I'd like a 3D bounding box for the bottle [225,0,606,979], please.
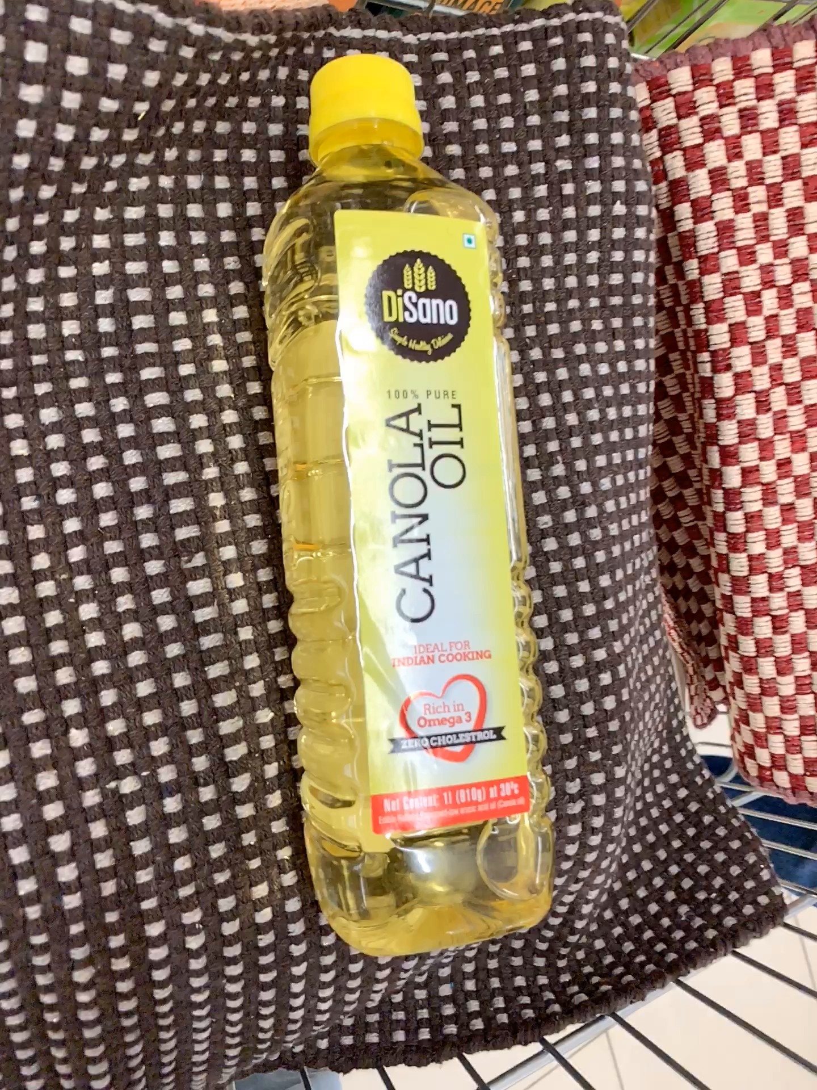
[{"bbox_3d":[-0.004,-0.033,0.223,0.070,0.060,0.250,-3,86,-17],"label":"bottle"}]
